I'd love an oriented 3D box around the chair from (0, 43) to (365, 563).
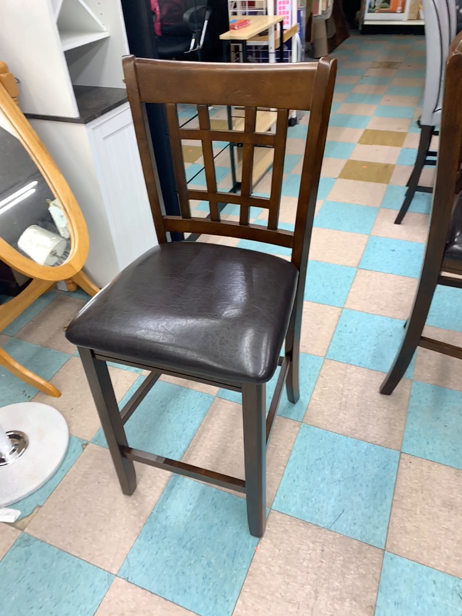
[{"bbox_3d":[-0.061,0.004,0.936,0.468,0.849,0.483,11,42,18],"label":"chair"}]
